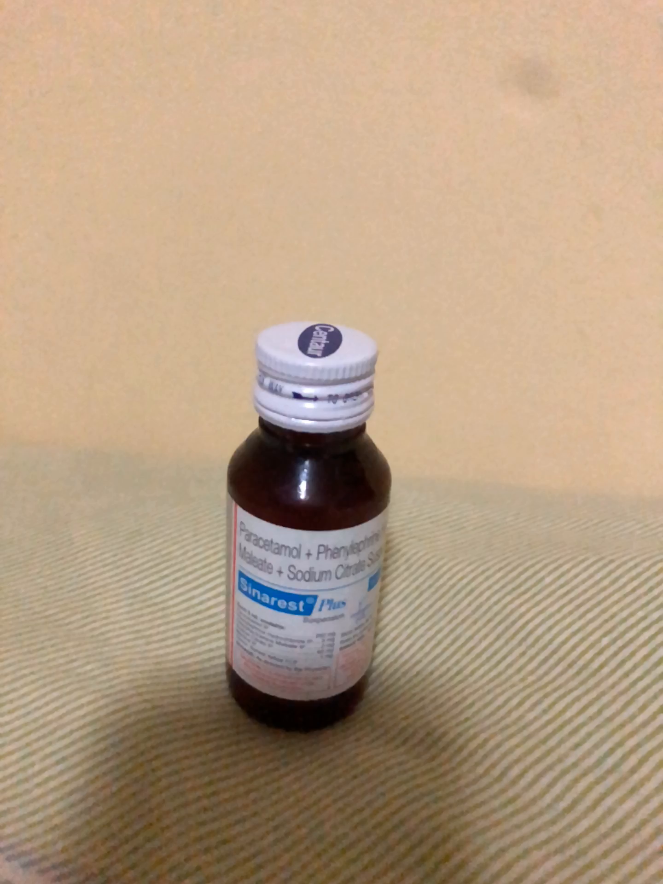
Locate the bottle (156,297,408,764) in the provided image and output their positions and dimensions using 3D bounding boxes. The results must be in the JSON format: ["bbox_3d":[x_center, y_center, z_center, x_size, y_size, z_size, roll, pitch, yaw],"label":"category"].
[{"bbox_3d":[-0.010,0.022,0.179,0.040,0.100,0.037,1,28,0],"label":"bottle"}]
